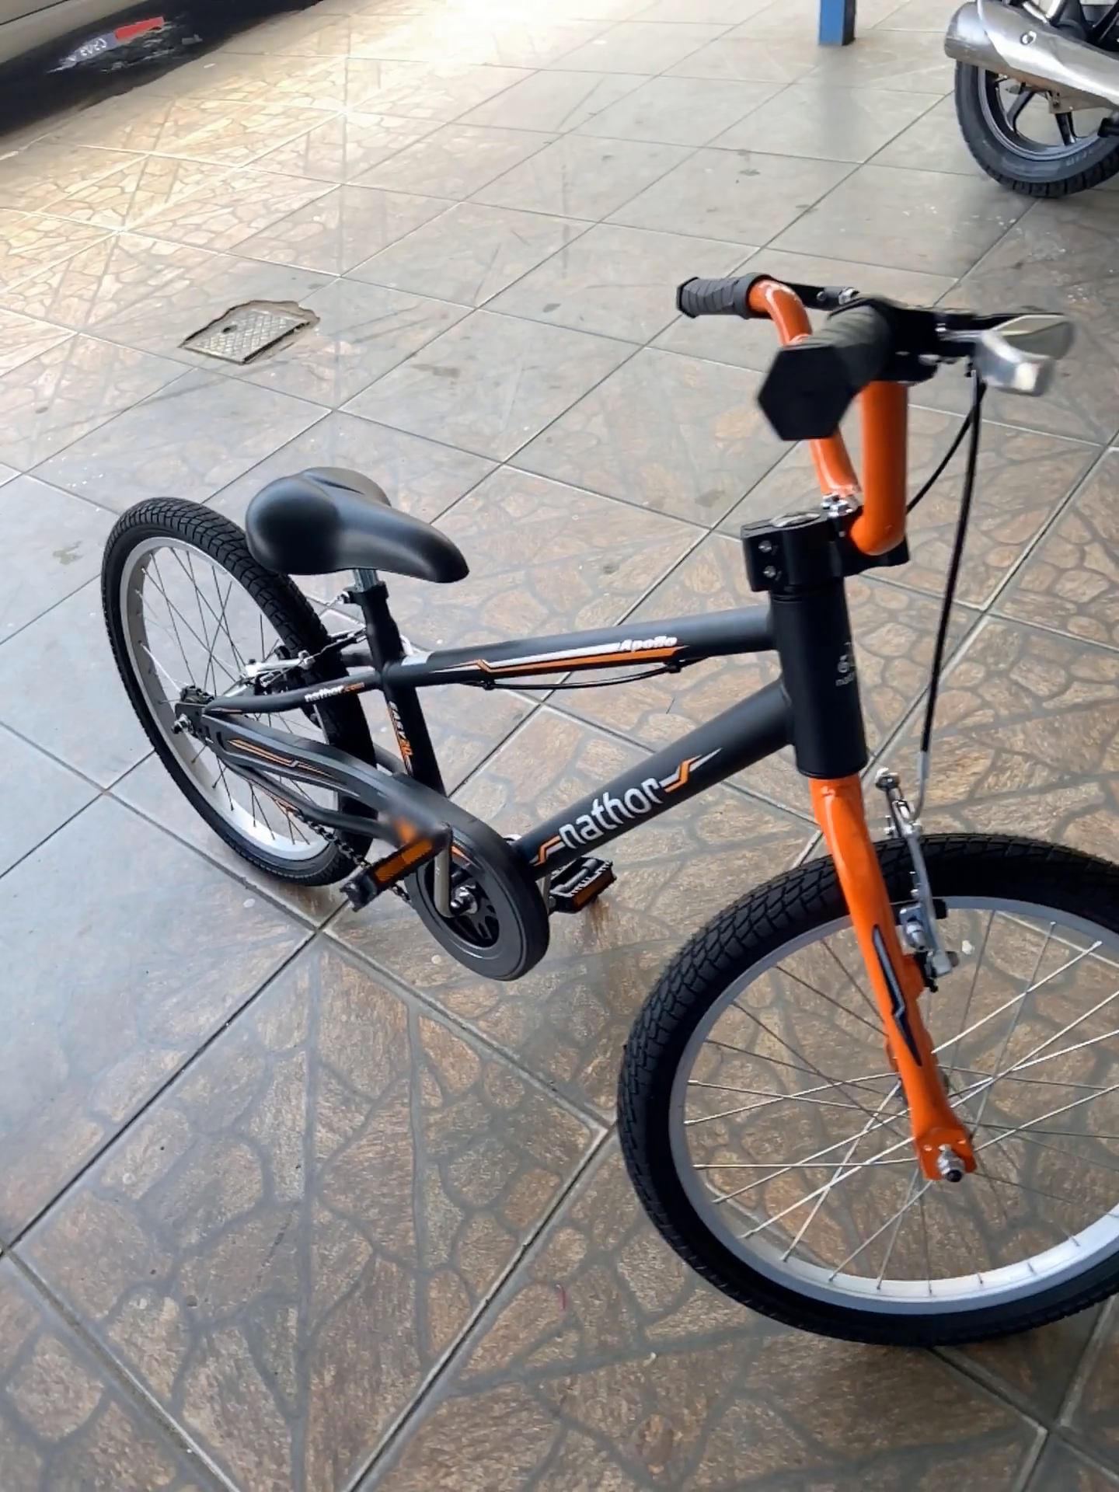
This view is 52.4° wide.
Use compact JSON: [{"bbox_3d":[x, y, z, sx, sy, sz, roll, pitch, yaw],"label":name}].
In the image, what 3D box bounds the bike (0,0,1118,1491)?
[{"bbox_3d":[-0.022,-0.124,1.094,1.352,0.978,0.726,20,54,26],"label":"bike"}]
